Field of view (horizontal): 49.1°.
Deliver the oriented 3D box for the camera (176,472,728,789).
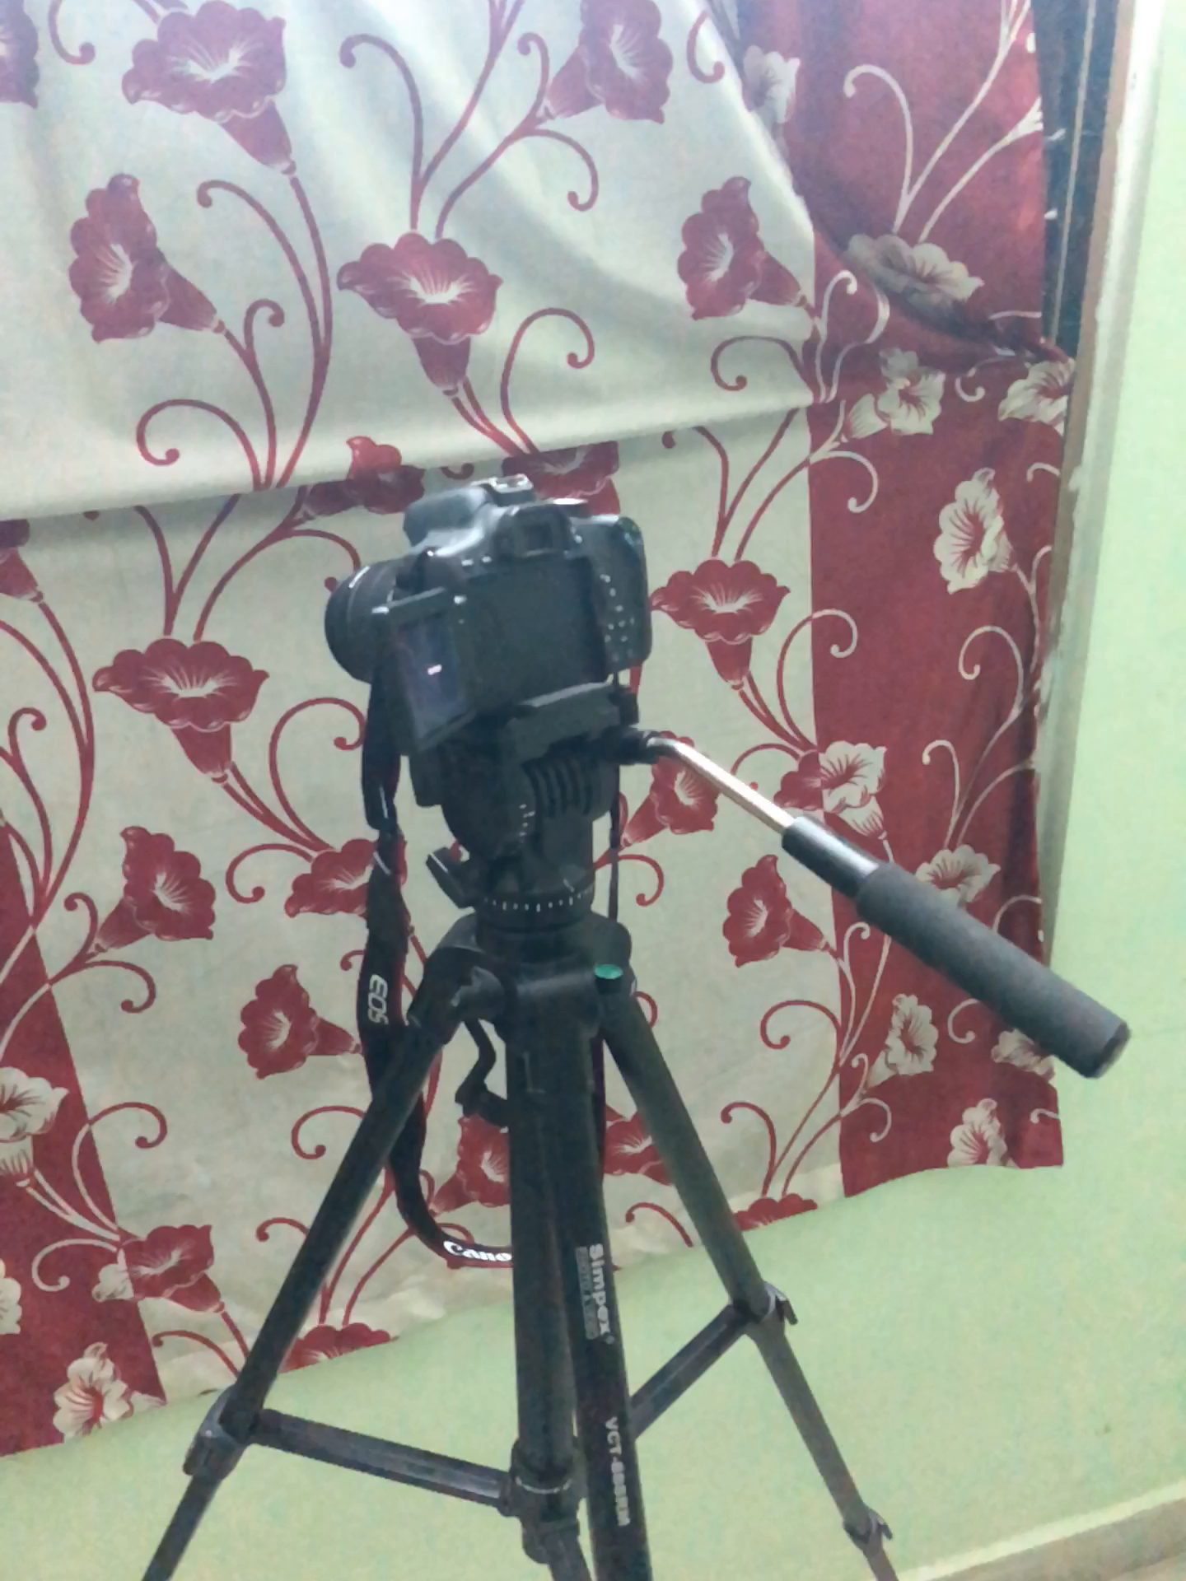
[{"bbox_3d":[-0.059,-0.085,0.592,0.201,0.087,0.140,-19,28,-40],"label":"camera"}]
